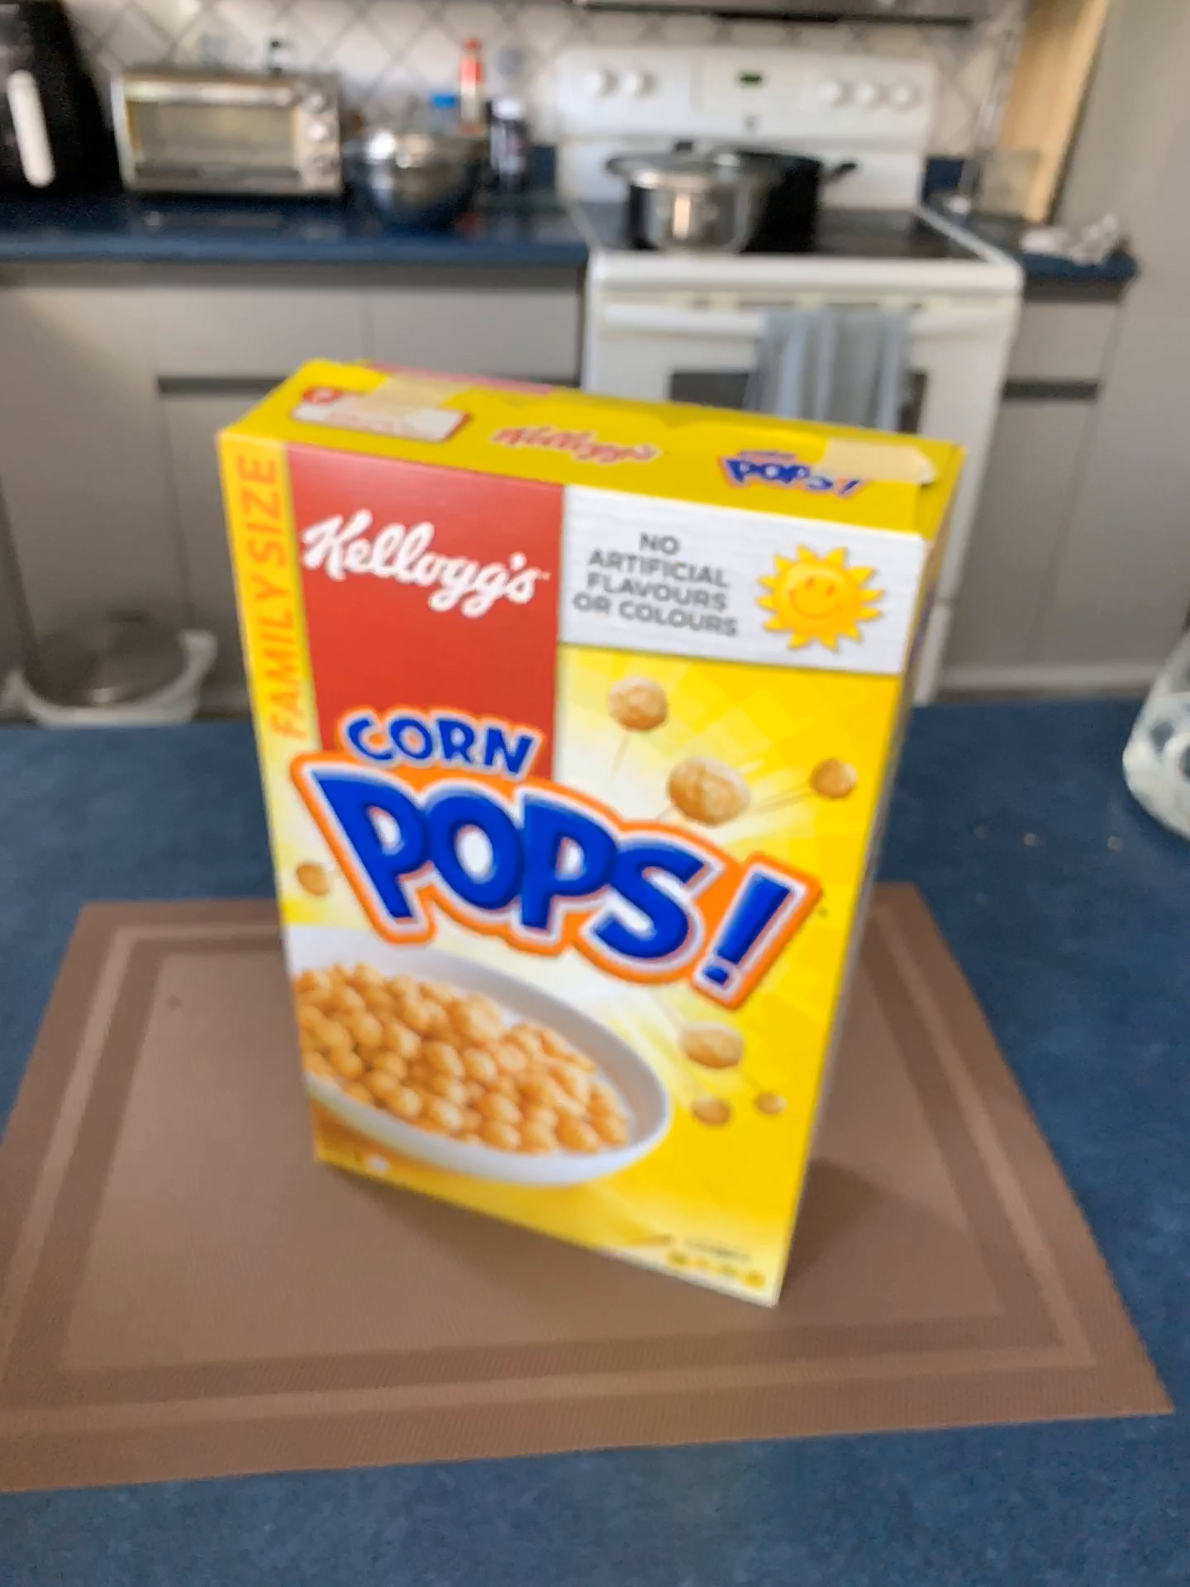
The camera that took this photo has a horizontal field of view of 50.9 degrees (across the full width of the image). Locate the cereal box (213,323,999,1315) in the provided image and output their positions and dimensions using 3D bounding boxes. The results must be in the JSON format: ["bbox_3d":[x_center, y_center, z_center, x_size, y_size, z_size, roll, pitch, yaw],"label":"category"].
[{"bbox_3d":[0.000,0.019,0.449,0.210,0.317,0.091,13,35,15],"label":"cereal box"}]
